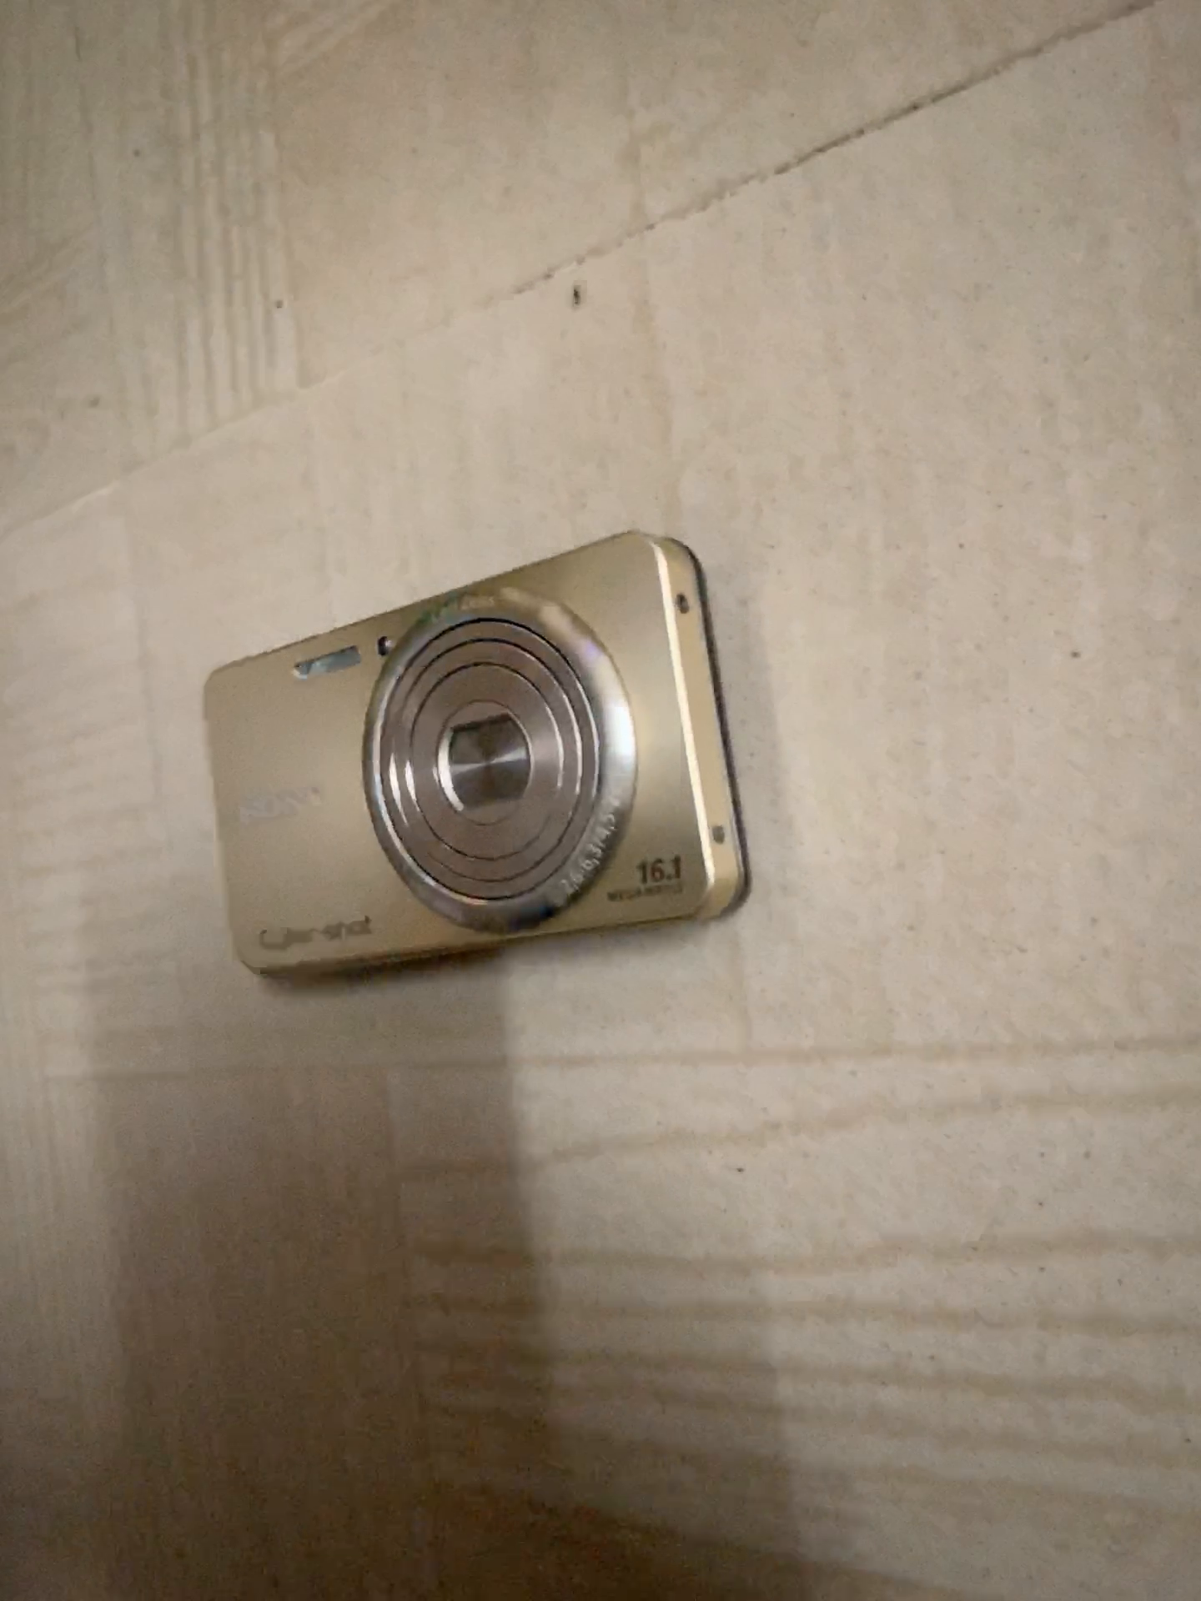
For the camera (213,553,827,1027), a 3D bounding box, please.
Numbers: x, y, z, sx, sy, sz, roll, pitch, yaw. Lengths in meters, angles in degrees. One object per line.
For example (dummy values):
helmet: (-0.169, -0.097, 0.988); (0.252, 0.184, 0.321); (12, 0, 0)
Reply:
camera: (-0.018, 0.003, 0.198); (0.098, 0.019, 0.057); (-10, 85, 33)
